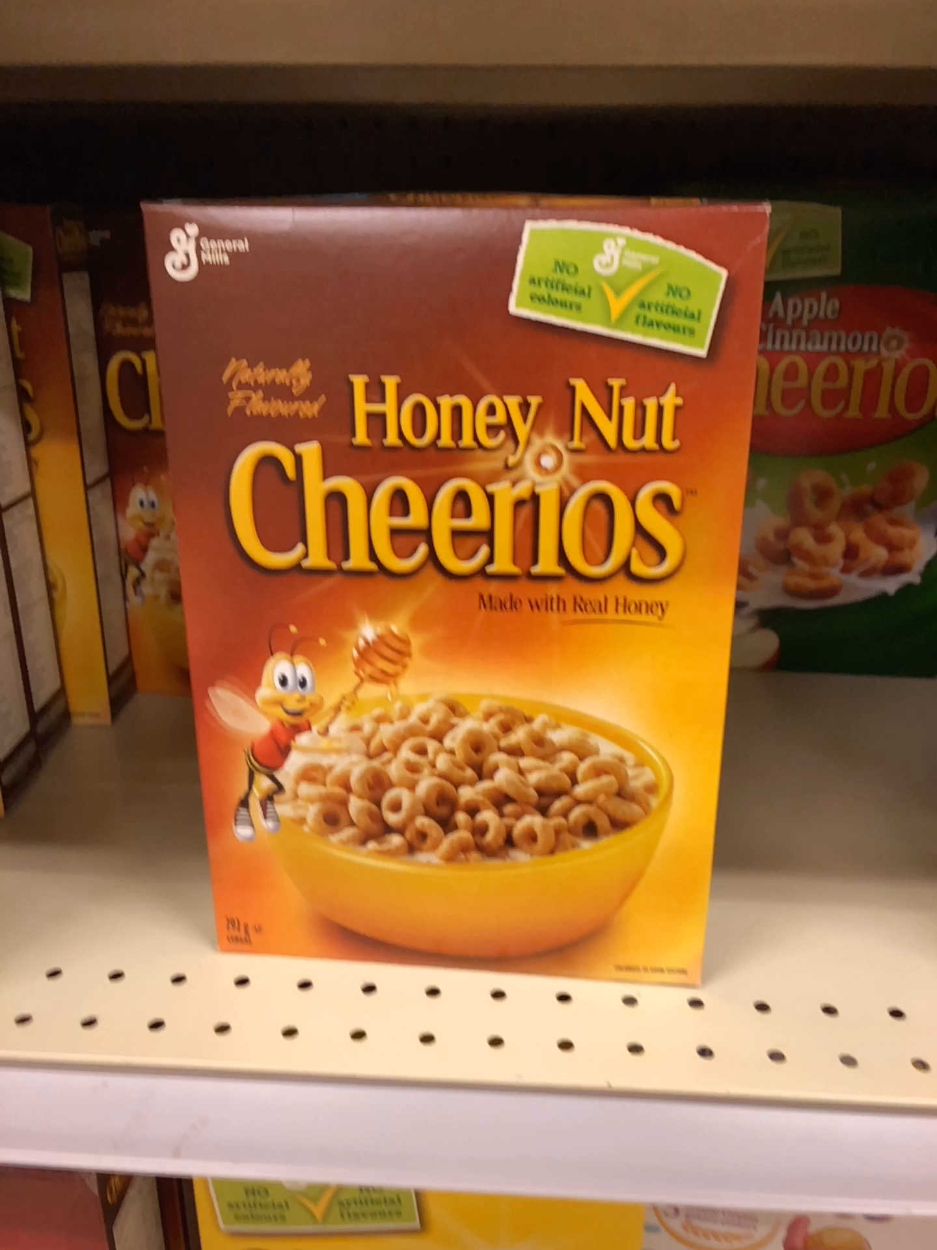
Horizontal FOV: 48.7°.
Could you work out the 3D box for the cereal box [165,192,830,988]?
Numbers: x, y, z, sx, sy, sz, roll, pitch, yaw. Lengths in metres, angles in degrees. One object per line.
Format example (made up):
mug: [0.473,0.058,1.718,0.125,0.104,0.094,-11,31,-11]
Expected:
cereal box: [0.008,-0.008,0.369,0.190,0.269,0.060,2,20,6]
